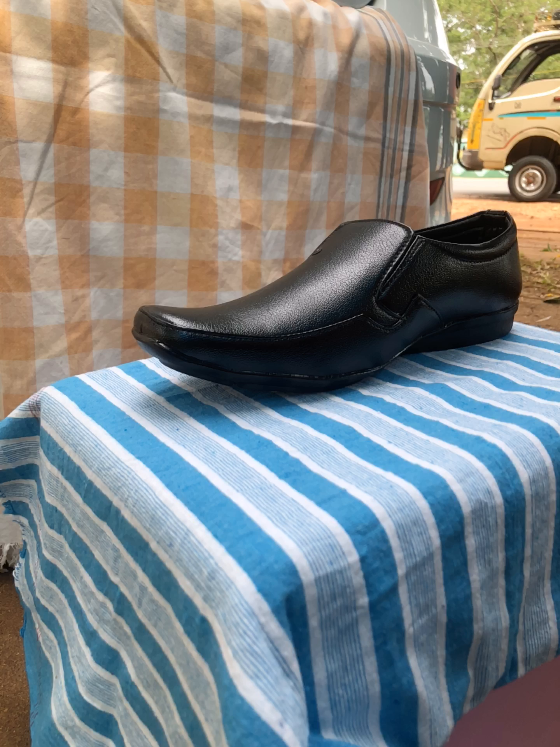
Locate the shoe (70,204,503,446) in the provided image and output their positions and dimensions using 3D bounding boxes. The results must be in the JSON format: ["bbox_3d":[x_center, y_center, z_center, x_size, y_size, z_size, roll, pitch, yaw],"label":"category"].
[{"bbox_3d":[0.025,-0.056,0.429,0.301,0.110,0.100,-14,23,-39],"label":"shoe"}]
